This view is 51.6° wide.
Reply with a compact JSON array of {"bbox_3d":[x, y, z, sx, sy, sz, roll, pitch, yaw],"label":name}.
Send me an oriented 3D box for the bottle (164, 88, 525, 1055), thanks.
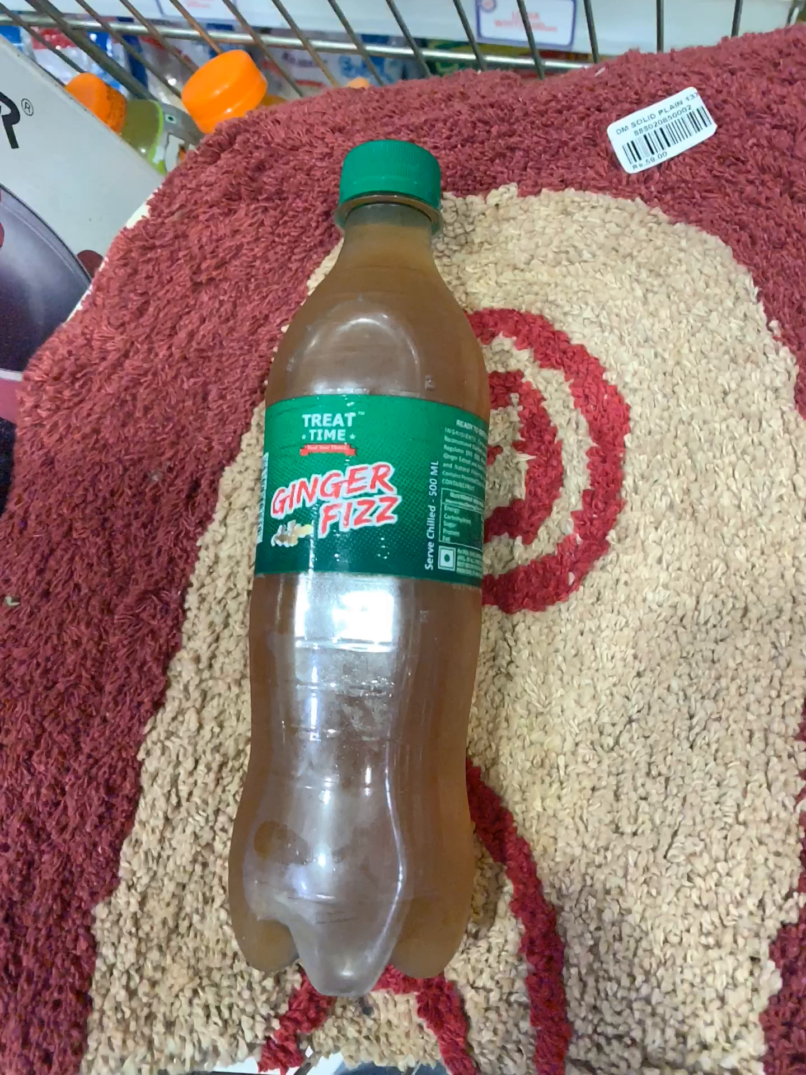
[{"bbox_3d":[-0.009,0.005,0.231,0.070,0.070,0.220,2,86,12],"label":"bottle"}]
